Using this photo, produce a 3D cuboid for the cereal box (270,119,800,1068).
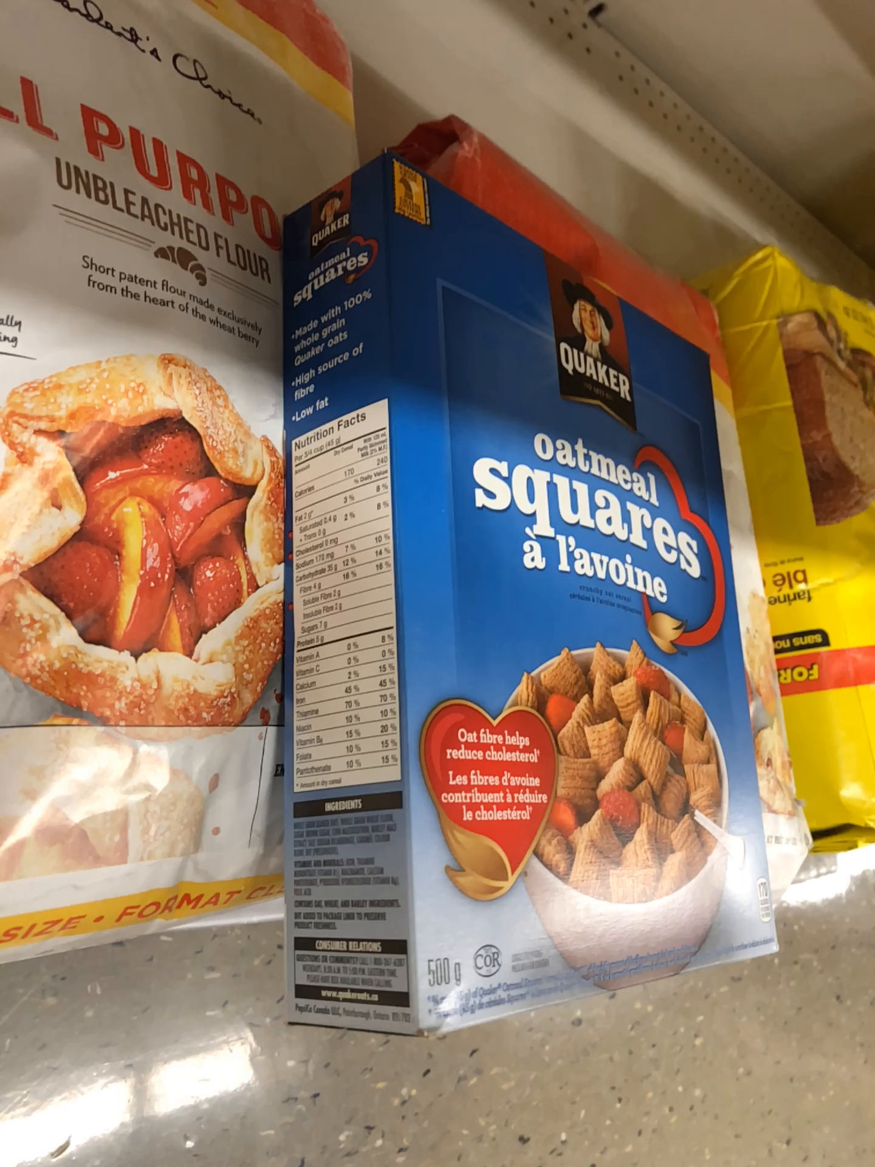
[{"bbox_3d":[0.041,0.008,0.368,0.211,0.060,0.280,14,66,-44],"label":"cereal box"}]
